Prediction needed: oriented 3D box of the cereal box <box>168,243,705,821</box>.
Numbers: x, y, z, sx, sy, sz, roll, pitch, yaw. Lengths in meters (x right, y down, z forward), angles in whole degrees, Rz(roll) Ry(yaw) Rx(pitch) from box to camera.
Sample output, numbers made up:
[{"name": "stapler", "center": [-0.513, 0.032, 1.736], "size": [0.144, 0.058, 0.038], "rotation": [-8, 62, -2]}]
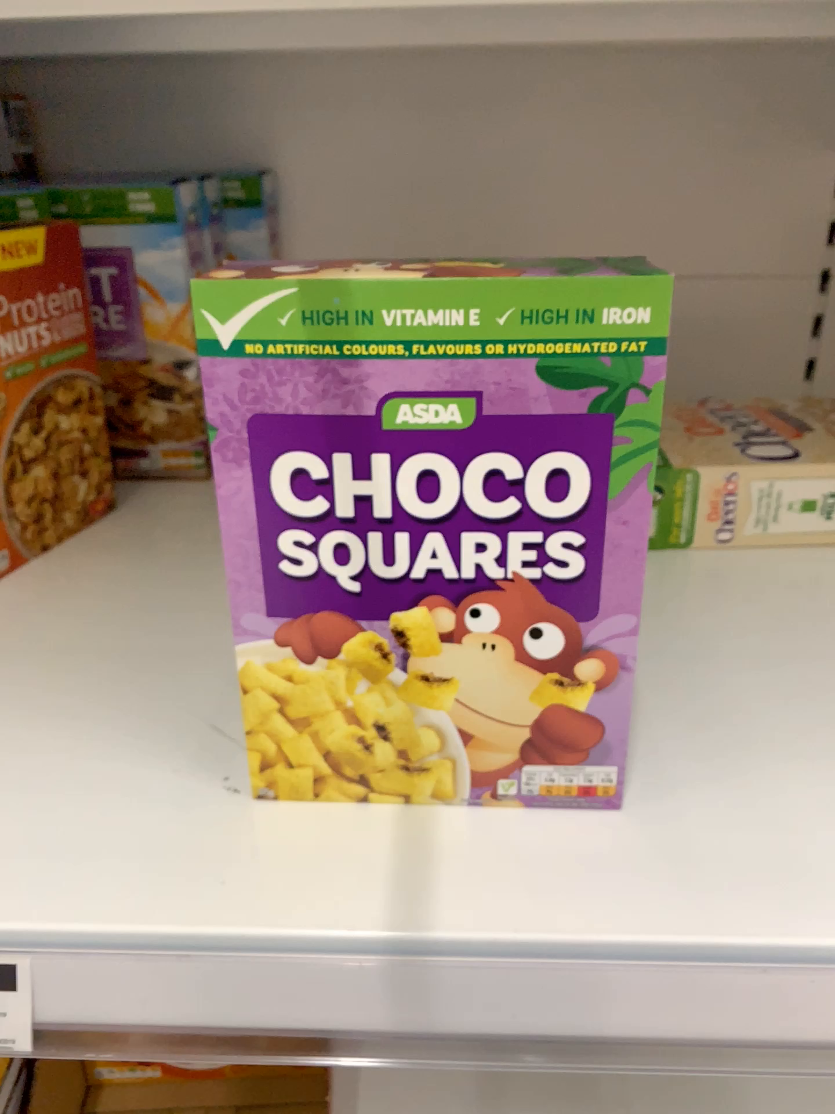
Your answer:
[{"name": "cereal box", "center": [0.009, -0.004, 0.387], "size": [0.190, 0.248, 0.061], "rotation": [1, 25, 4]}]
